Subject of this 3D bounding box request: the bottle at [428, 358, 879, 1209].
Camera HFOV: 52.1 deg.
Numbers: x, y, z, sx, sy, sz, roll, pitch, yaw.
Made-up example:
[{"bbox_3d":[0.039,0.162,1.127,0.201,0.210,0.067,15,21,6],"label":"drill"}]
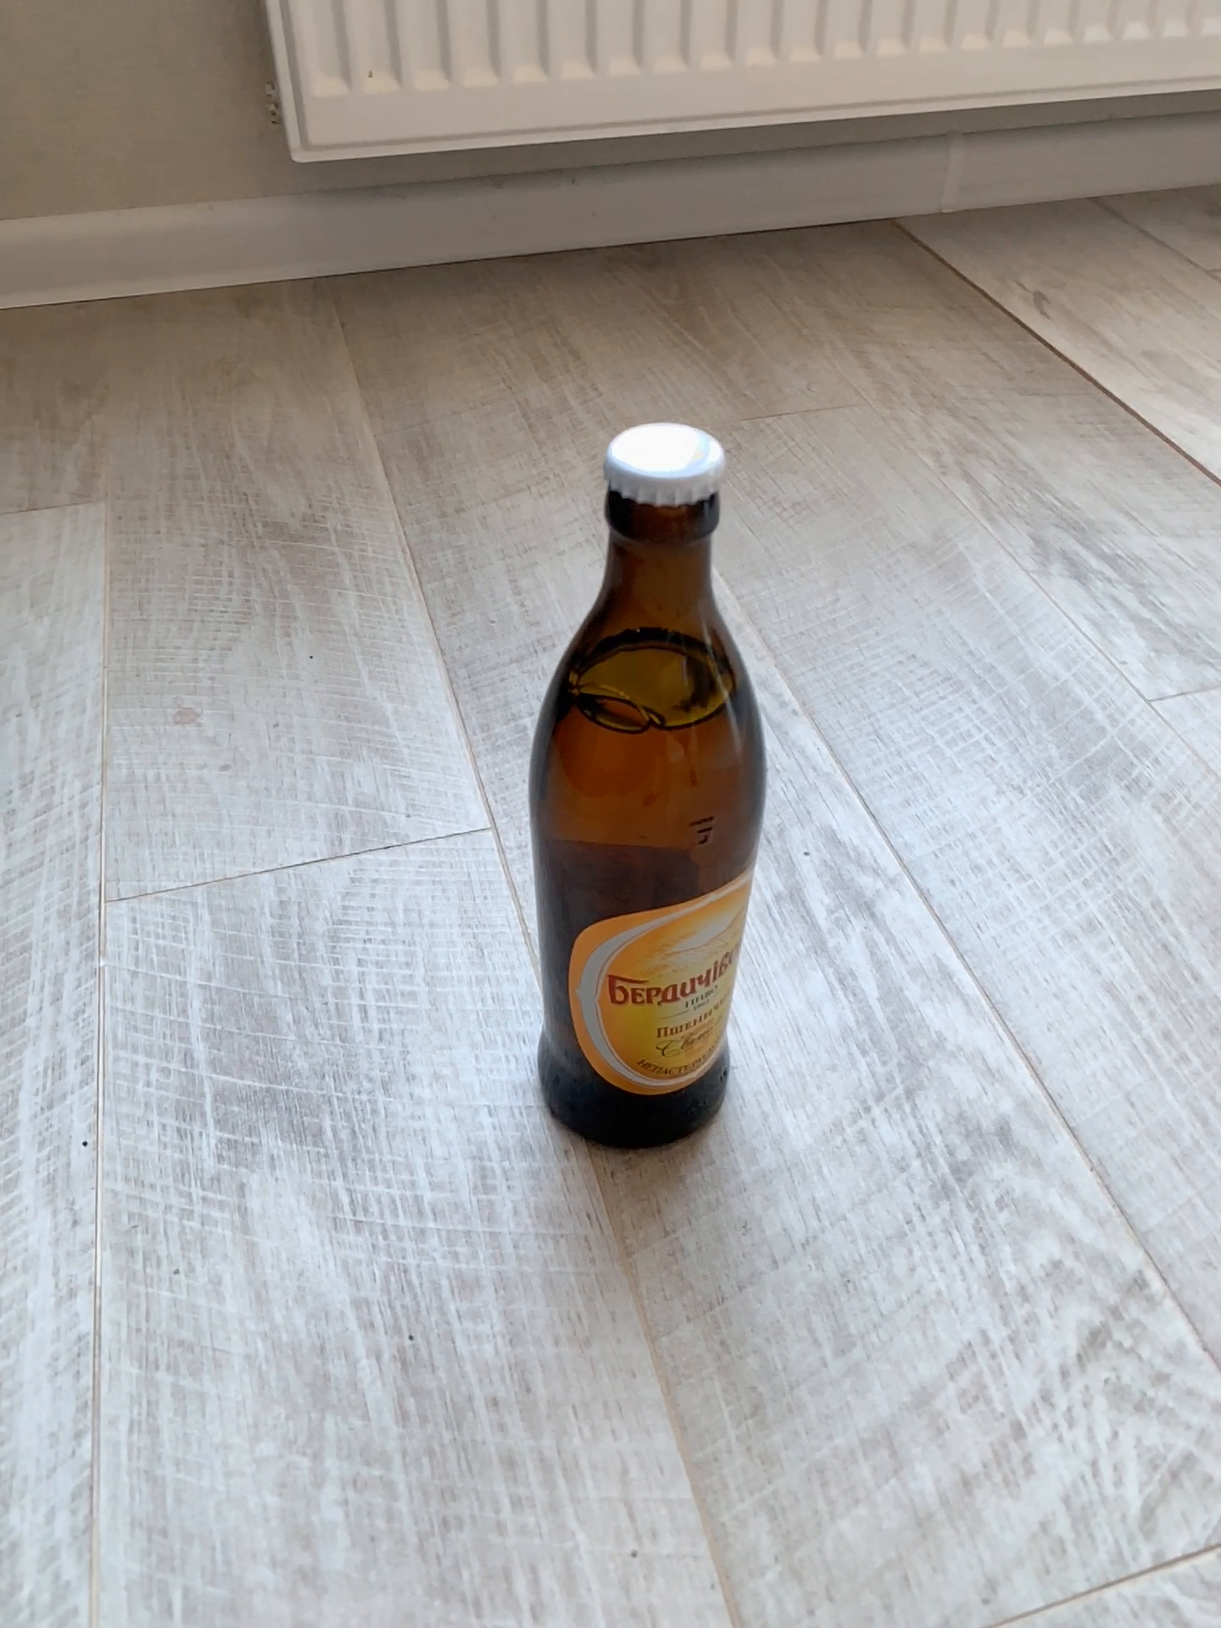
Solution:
[{"bbox_3d":[0.007,0.007,0.343,0.070,0.229,0.070,0,44,0],"label":"bottle"}]
